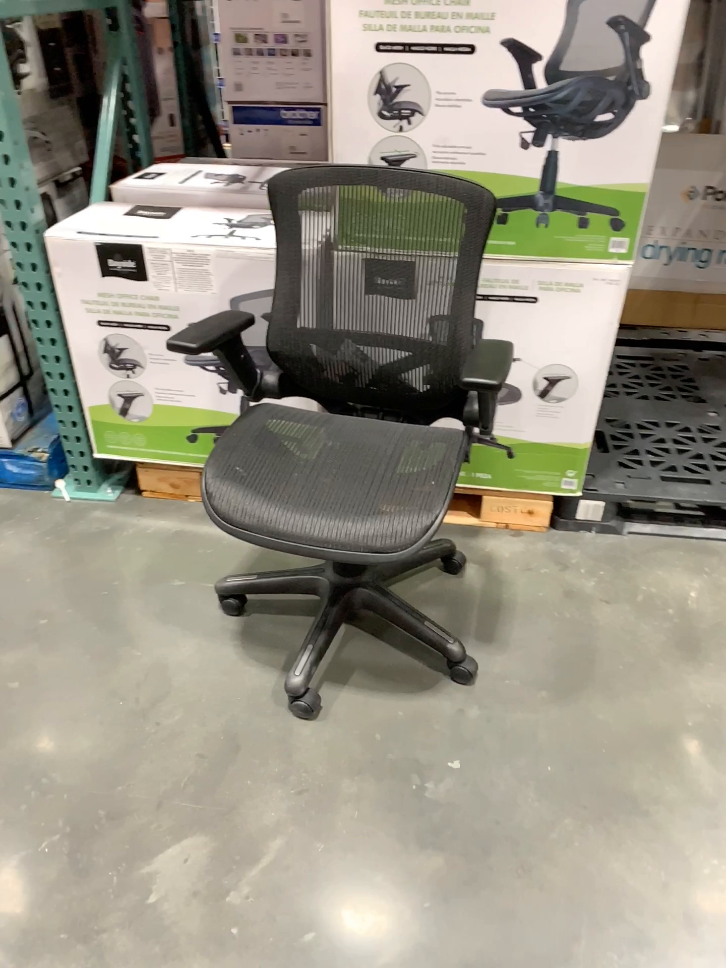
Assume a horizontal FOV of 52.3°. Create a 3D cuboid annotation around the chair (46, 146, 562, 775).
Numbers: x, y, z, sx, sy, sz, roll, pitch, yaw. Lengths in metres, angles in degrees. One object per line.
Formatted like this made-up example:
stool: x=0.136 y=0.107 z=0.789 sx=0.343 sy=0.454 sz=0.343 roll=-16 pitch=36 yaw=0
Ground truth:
chair: x=-0.027 y=-0.088 z=1.551 sx=0.676 sy=0.987 sz=0.739 roll=9 pitch=35 yaw=13
